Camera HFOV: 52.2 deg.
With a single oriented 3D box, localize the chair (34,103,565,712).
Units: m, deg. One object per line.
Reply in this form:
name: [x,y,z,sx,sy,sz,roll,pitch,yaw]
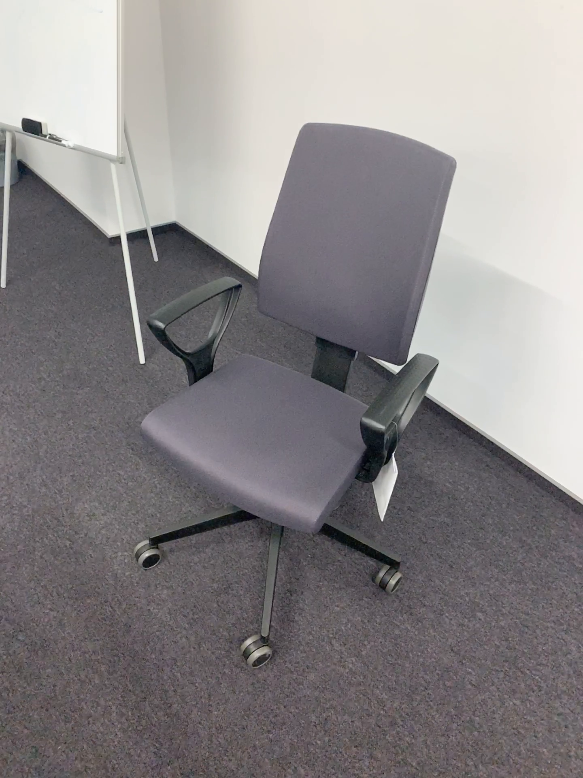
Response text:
chair: [0.023,-0.014,1.436,0.701,1.034,0.783,26,40,24]
